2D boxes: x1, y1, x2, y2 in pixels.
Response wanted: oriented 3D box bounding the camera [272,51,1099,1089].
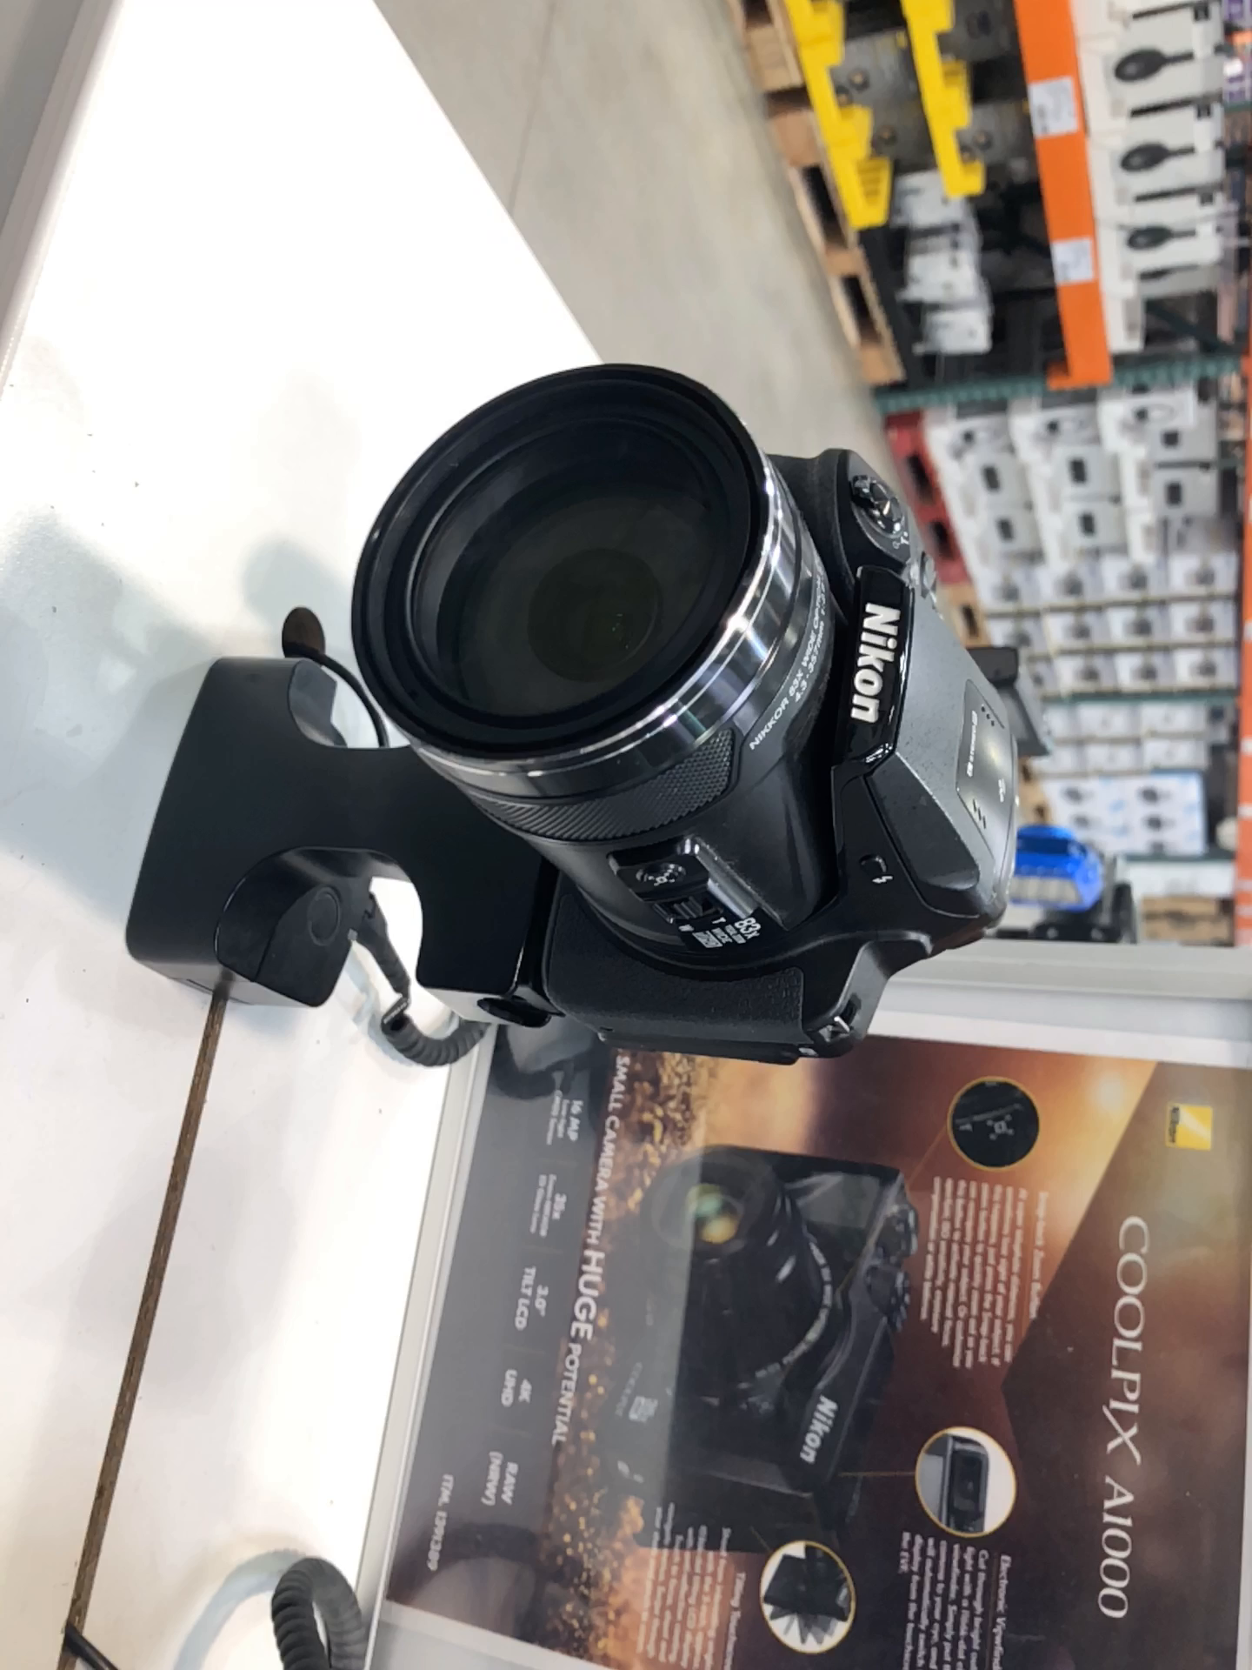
[{"bbox_3d":[0.032,-0.037,0.292,0.151,0.109,0.140,46,50,-59],"label":"camera"}]
